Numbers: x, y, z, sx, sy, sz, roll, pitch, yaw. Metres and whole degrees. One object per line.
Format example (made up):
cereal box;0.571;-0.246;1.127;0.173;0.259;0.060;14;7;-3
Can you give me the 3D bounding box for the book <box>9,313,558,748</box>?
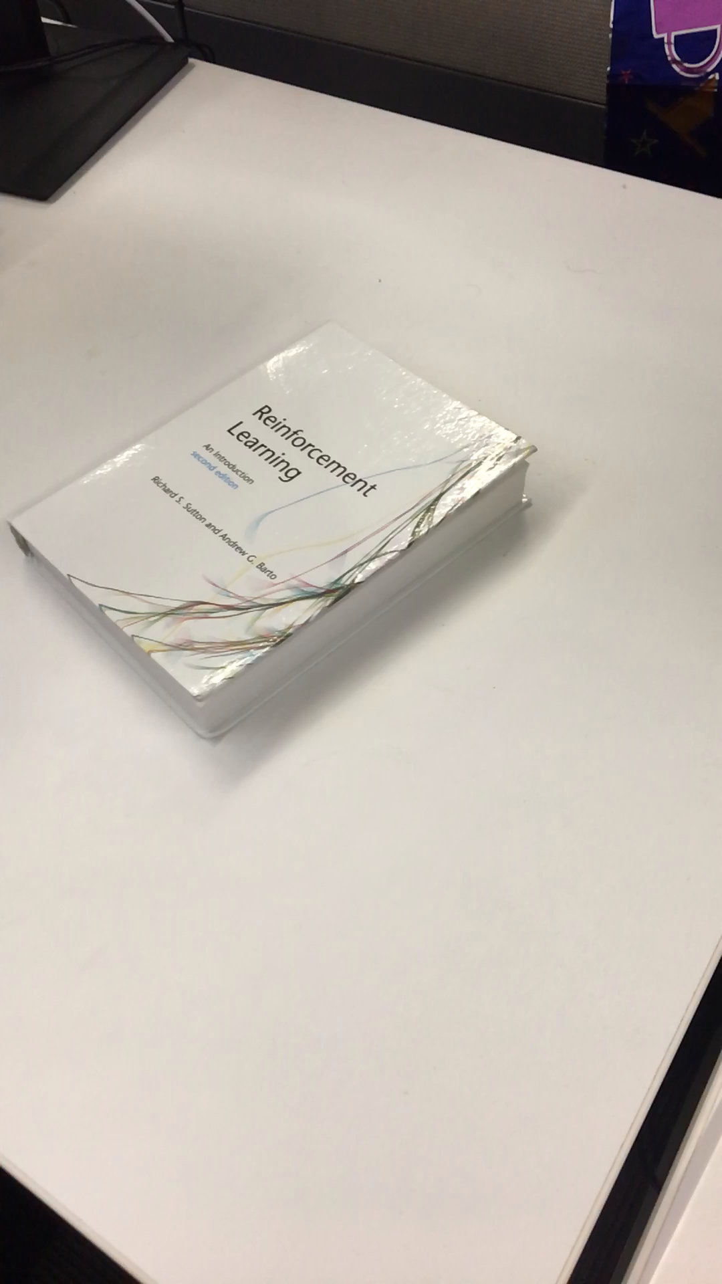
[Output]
book;-0.041;-0.077;0.595;0.240;0.030;0.180;-37;59;-21
